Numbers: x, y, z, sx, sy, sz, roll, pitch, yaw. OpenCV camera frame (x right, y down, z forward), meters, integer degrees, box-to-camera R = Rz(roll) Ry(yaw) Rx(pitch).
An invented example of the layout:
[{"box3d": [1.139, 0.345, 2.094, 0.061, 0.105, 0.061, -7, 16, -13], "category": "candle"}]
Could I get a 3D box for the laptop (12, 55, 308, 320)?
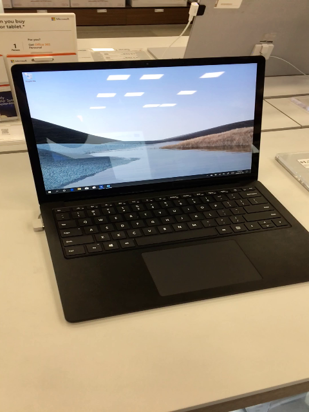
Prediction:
[{"box3d": [0.031, -0.046, 0.503, 0.340, 0.187, 0.279, -9, 43, -14], "category": "laptop"}]
